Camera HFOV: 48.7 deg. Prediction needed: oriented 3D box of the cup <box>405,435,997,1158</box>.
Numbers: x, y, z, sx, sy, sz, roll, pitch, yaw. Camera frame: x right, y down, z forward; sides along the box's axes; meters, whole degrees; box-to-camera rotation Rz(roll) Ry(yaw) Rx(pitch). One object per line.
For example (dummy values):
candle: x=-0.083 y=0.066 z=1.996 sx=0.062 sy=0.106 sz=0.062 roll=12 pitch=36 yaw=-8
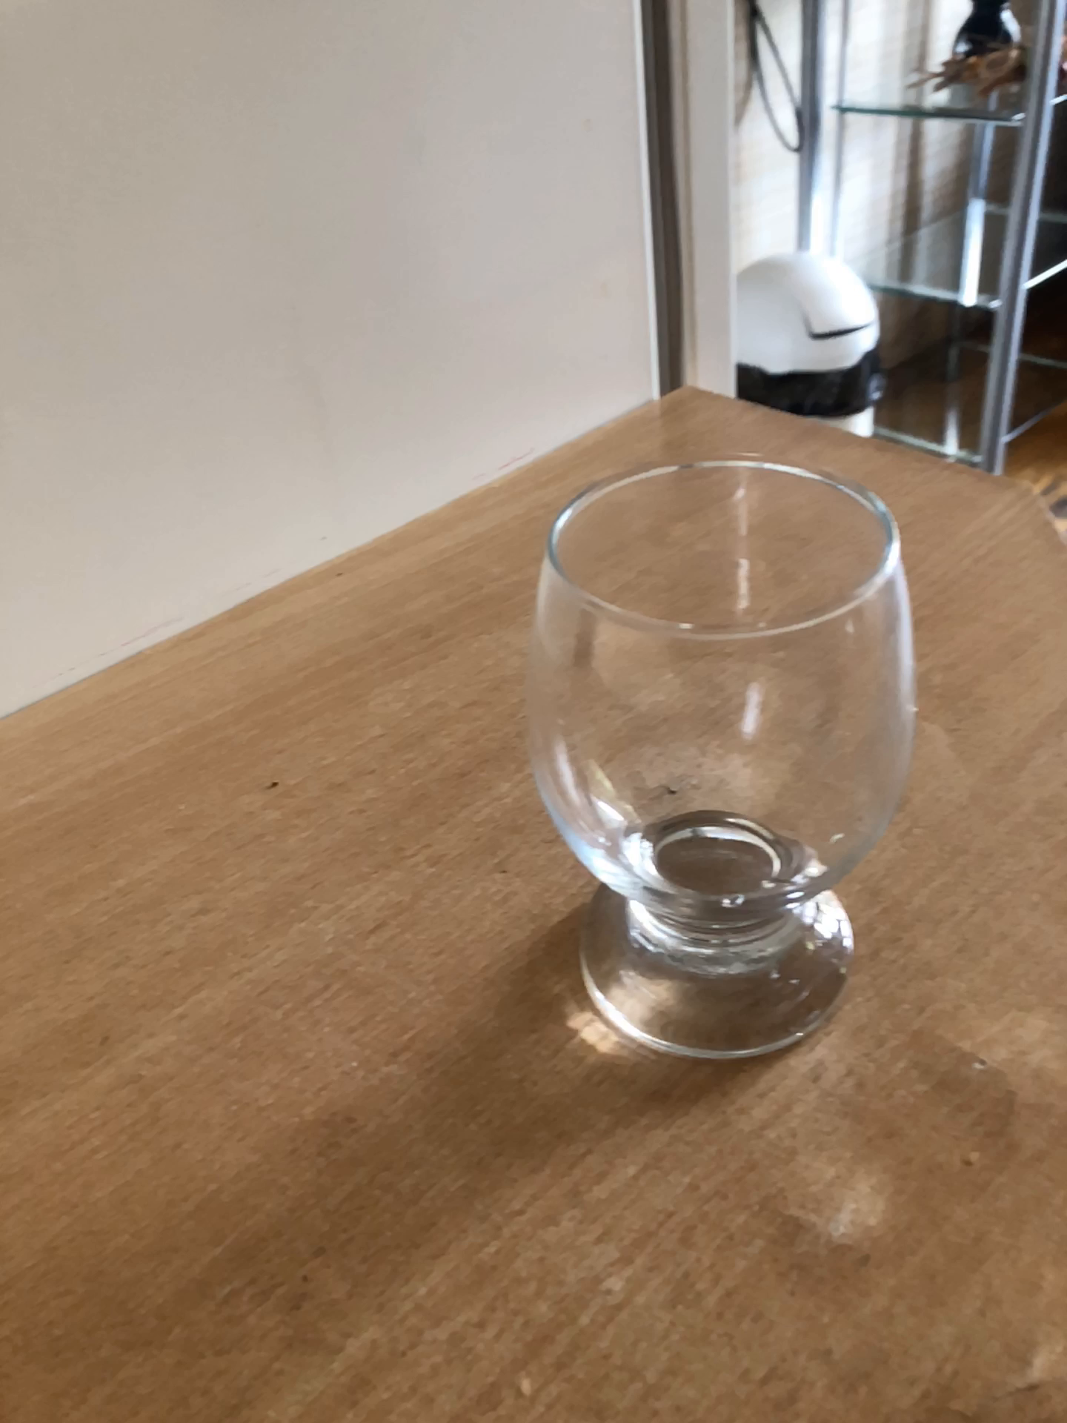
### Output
cup: x=0.035 y=0.014 z=0.244 sx=0.074 sy=0.105 sz=0.077 roll=-5 pitch=37 yaw=4
